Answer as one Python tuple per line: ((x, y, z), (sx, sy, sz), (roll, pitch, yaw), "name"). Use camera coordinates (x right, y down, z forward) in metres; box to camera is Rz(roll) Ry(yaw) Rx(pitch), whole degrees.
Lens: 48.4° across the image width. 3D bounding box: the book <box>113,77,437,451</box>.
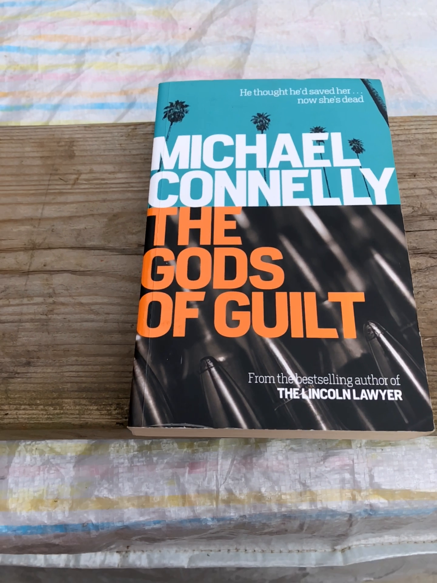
((0.028, -0.023, 0.258), (0.140, 0.040, 0.201), (0, 66, 2), "book")
